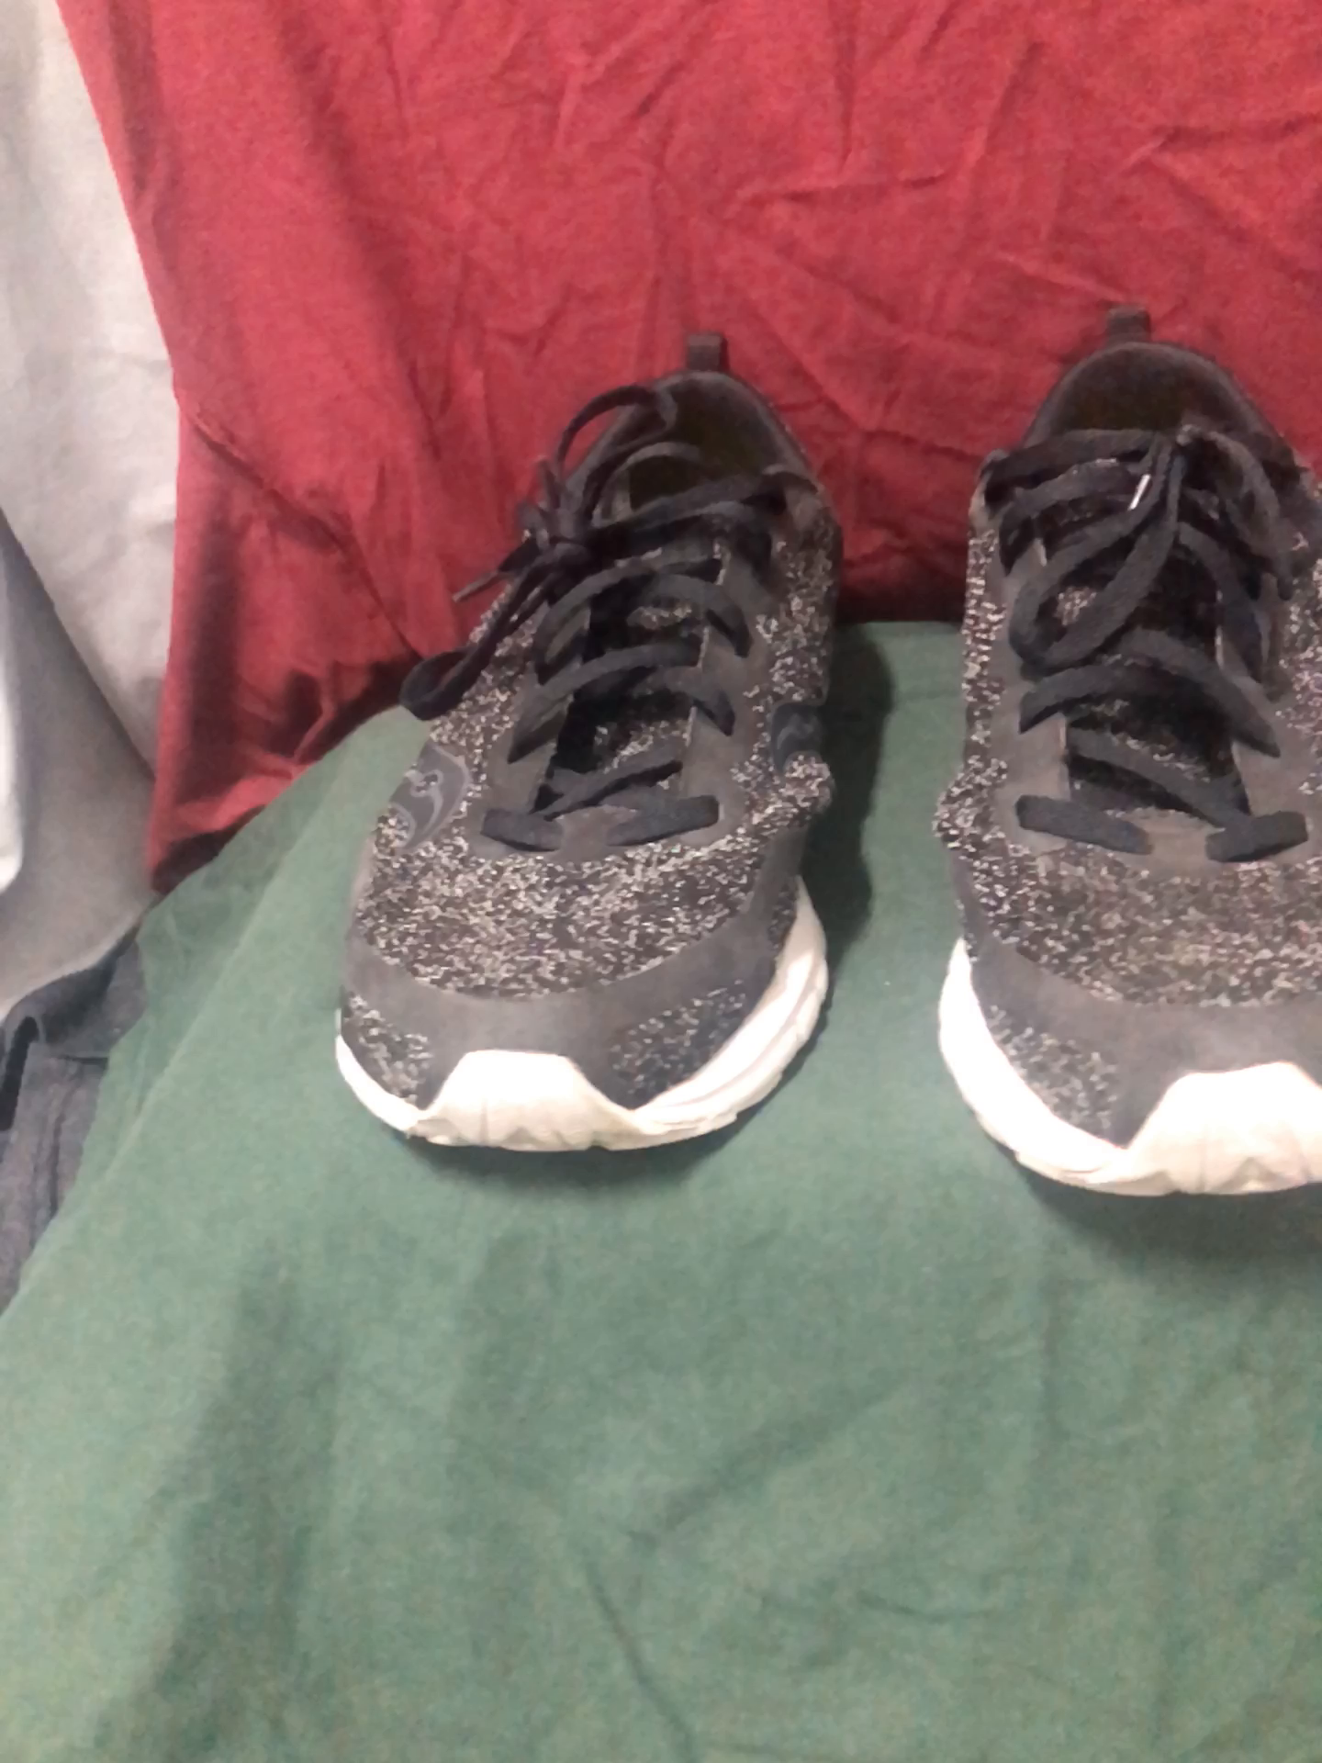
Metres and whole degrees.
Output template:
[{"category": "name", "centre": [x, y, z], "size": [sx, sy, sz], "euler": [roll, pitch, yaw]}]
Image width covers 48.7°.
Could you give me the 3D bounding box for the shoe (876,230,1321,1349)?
[{"category": "shoe", "centre": [0.123, -0.046, 0.308], "size": [0.120, 0.099, 0.262], "euler": [-2, 35, 16]}]

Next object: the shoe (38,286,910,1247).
[{"category": "shoe", "centre": [-0.010, -0.051, 0.357], "size": [0.120, 0.099, 0.272], "euler": [-3, 34, 15]}]
